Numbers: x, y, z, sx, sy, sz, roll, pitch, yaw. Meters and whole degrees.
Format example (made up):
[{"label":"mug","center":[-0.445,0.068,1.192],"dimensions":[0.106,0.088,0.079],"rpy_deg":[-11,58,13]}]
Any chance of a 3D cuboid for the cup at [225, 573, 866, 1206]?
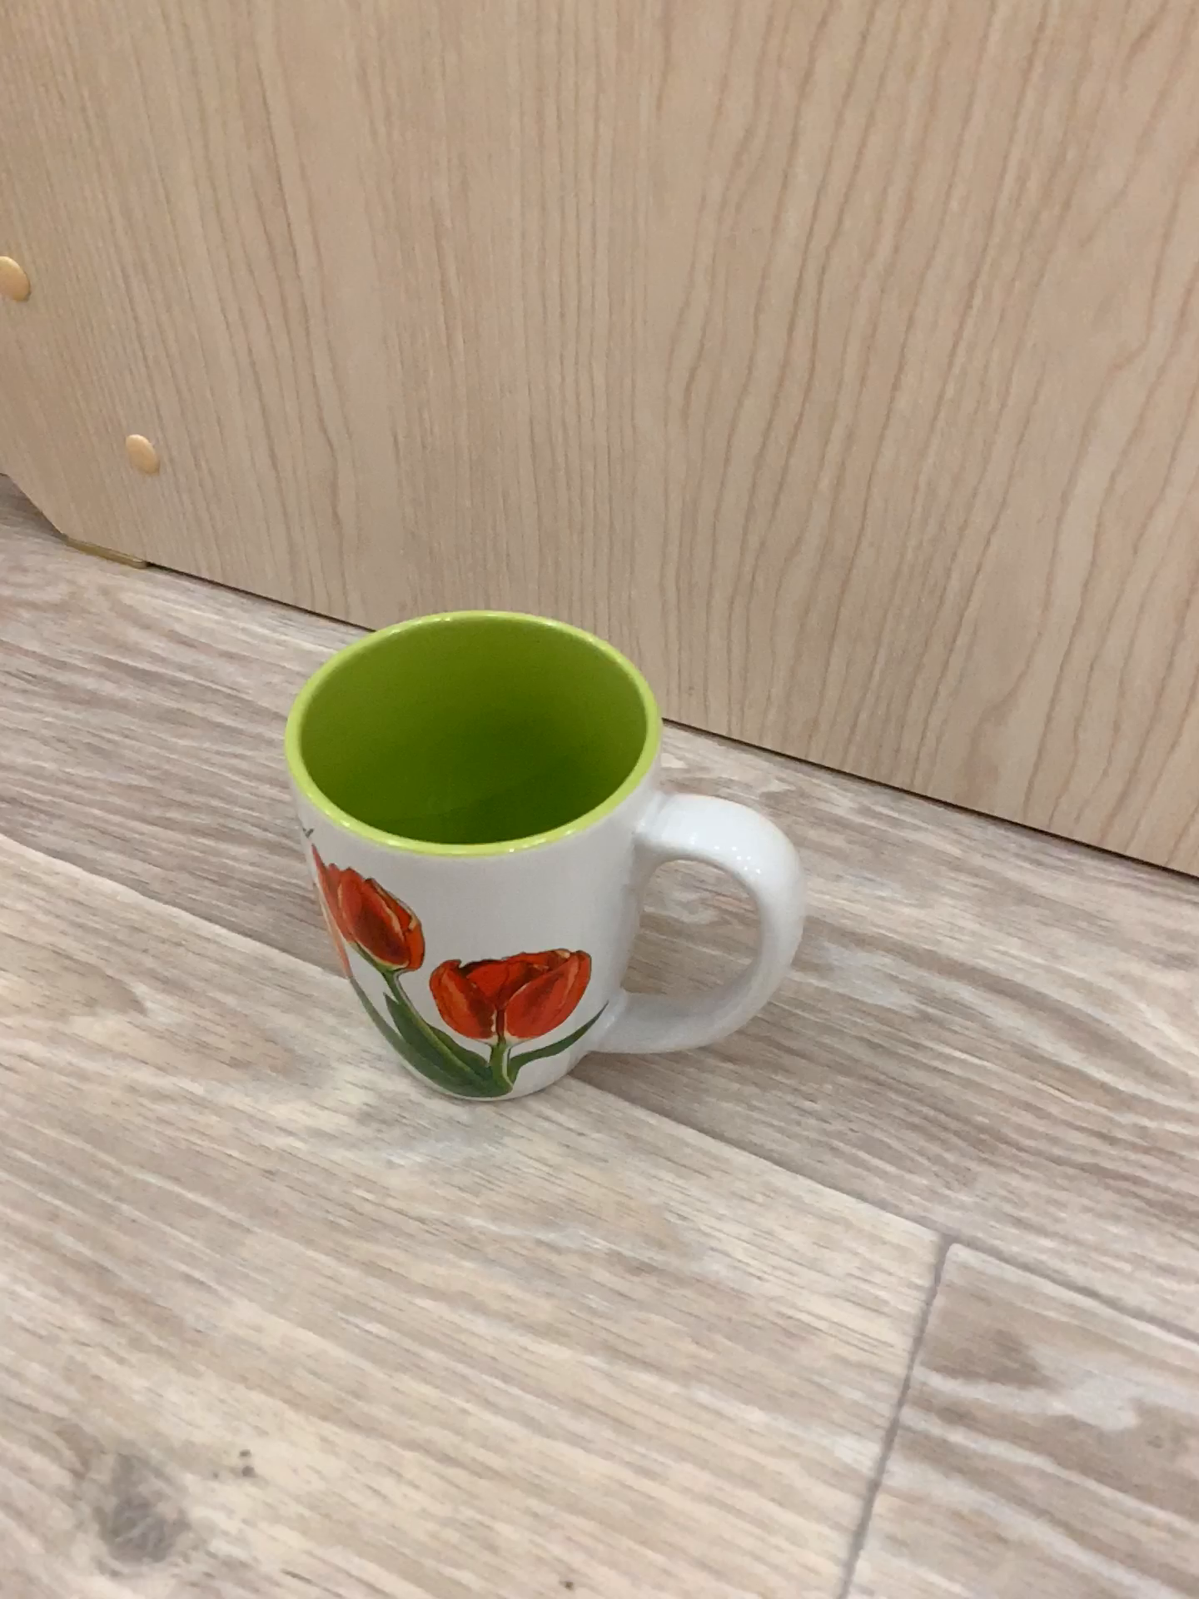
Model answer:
[{"label":"cup","center":[-0.008,0.020,0.304],"dimensions":[0.118,0.101,0.084],"rpy_deg":[13,44,12]}]
